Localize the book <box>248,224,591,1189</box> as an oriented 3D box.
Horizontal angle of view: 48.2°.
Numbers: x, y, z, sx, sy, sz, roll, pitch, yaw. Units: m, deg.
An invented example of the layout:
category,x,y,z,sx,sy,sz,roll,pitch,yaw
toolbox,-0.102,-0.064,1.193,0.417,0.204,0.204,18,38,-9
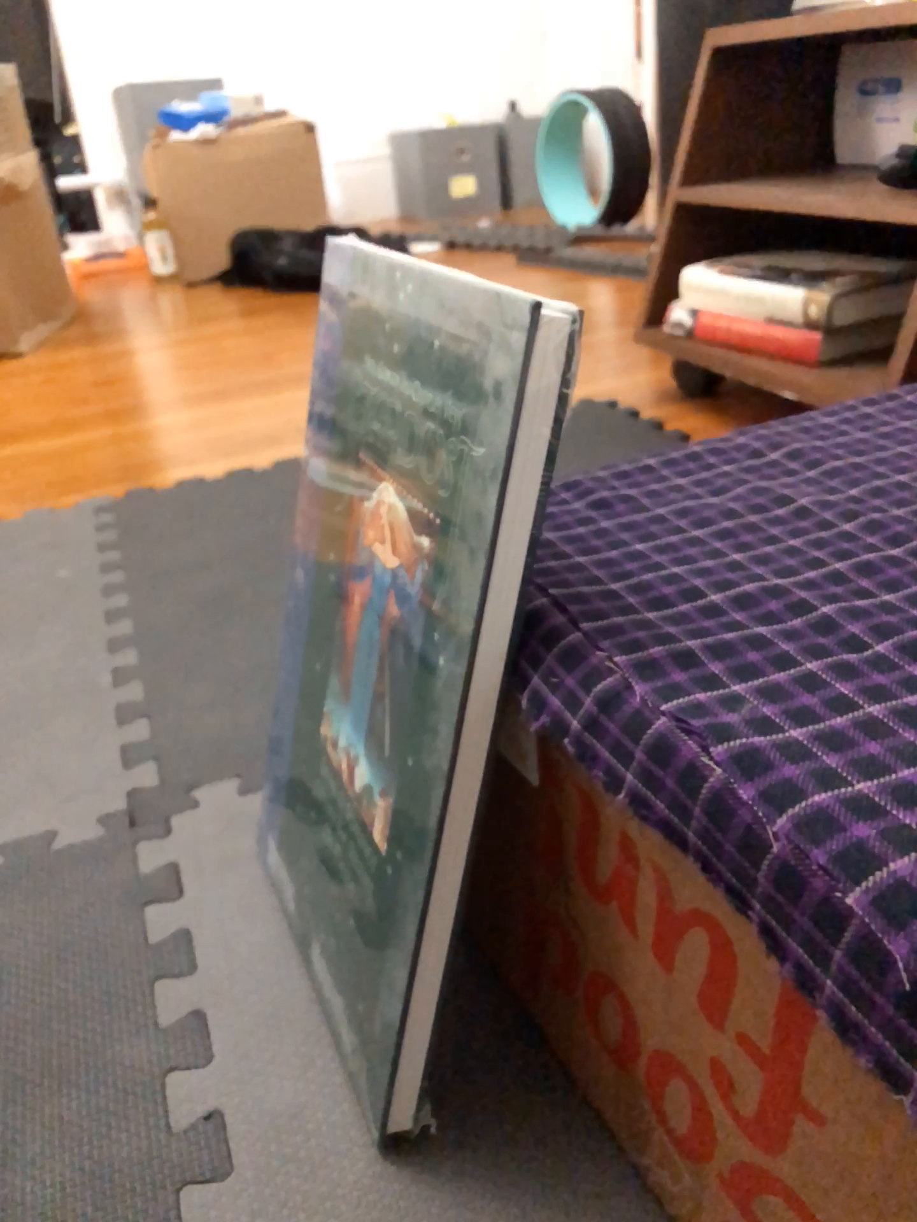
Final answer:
category,x,y,z,sx,sy,sz,roll,pitch,yaw
book,-0.039,0.022,0.419,0.020,0.329,0.211,1,21,-24
